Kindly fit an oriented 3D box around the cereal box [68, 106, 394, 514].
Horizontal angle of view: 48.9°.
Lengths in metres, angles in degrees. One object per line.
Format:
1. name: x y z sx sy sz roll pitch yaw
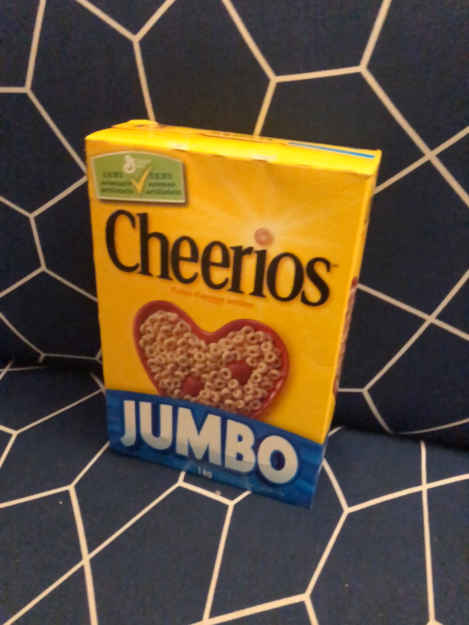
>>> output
1. cereal box: -0.010 0.001 0.420 0.210 0.288 0.080 12 28 14
